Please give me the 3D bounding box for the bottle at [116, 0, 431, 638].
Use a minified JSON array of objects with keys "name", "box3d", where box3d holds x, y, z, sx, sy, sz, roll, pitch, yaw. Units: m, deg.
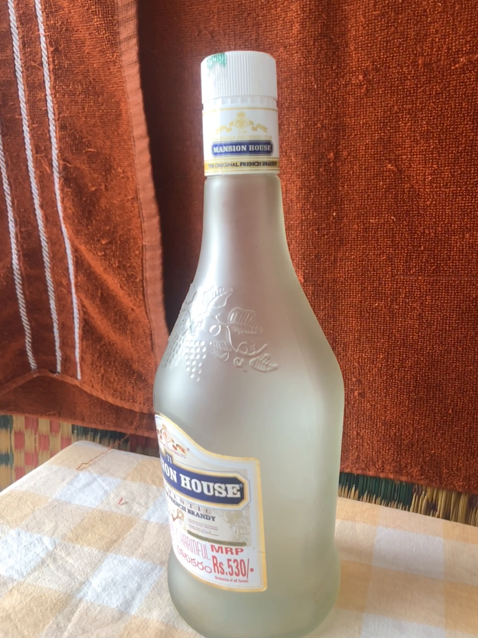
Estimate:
[{"name":"bottle","box3d":[0.011,0.011,0.244,0.090,0.249,0.090,-1,15,0]}]
